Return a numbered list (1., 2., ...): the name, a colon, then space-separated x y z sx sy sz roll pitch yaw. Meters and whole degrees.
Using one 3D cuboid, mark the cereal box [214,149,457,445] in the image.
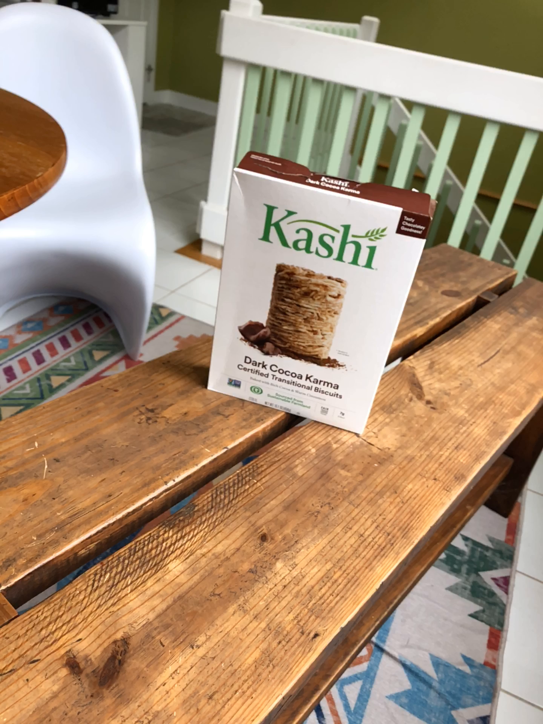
1. cereal box: 0.055 -0.060 0.646 0.200 0.278 0.060 15 35 7
